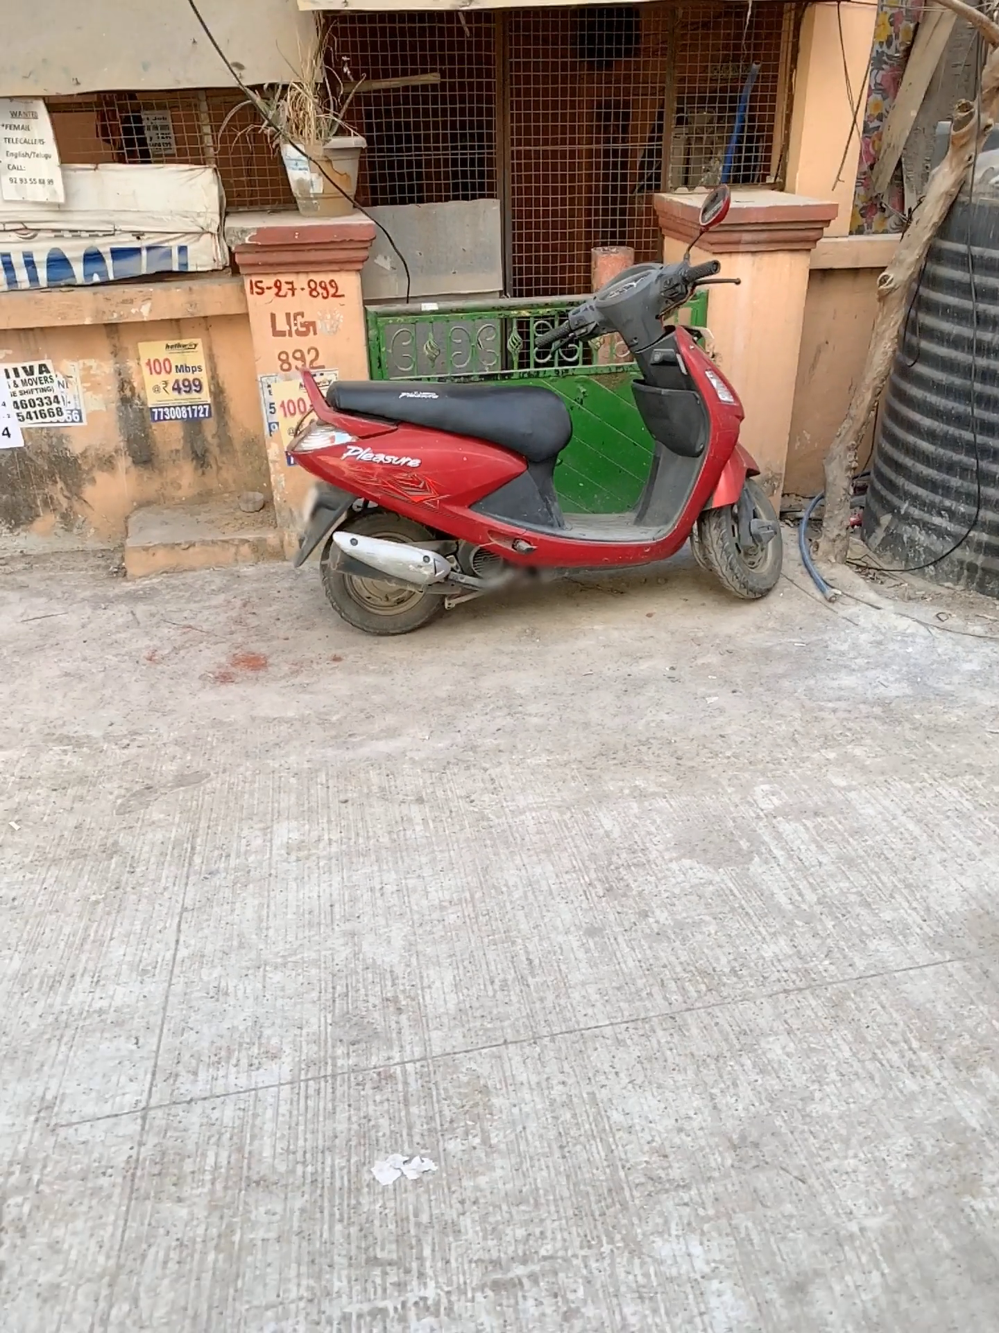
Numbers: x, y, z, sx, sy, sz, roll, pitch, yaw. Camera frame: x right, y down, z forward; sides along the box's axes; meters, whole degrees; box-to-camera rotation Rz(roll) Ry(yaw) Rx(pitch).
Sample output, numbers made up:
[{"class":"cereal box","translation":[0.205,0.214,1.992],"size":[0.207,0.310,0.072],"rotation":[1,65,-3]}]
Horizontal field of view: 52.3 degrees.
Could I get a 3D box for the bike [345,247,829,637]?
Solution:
[{"class":"bike","translation":[0.244,-0.736,3.139],"size":[1.272,0.916,0.621],"rotation":[-10,30,-16]}]
